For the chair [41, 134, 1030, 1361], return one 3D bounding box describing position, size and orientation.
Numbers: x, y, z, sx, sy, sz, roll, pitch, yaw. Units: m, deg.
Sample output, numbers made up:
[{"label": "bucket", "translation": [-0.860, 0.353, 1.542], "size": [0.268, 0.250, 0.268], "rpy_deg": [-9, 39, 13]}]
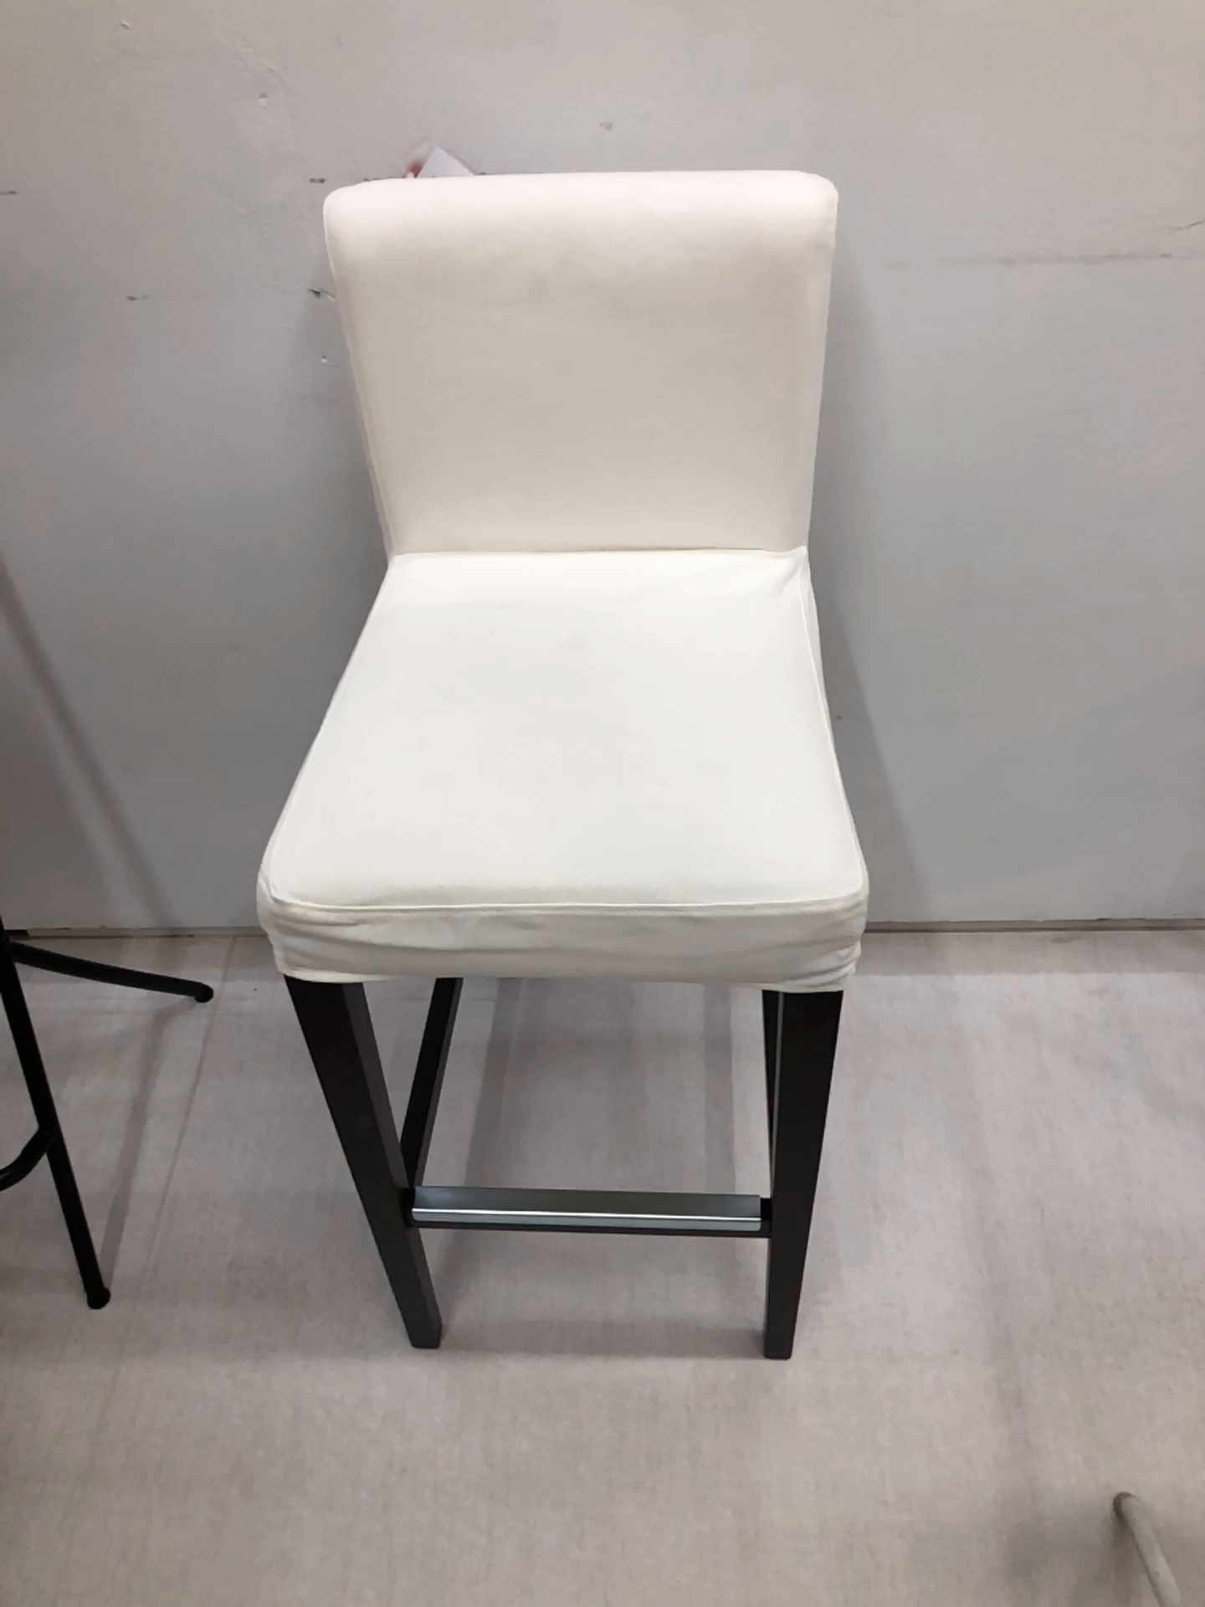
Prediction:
[{"label": "chair", "translation": [-0.002, 0.015, 1.078], "size": [0.440, 0.854, 0.533], "rpy_deg": [-1, 46, 4]}]
